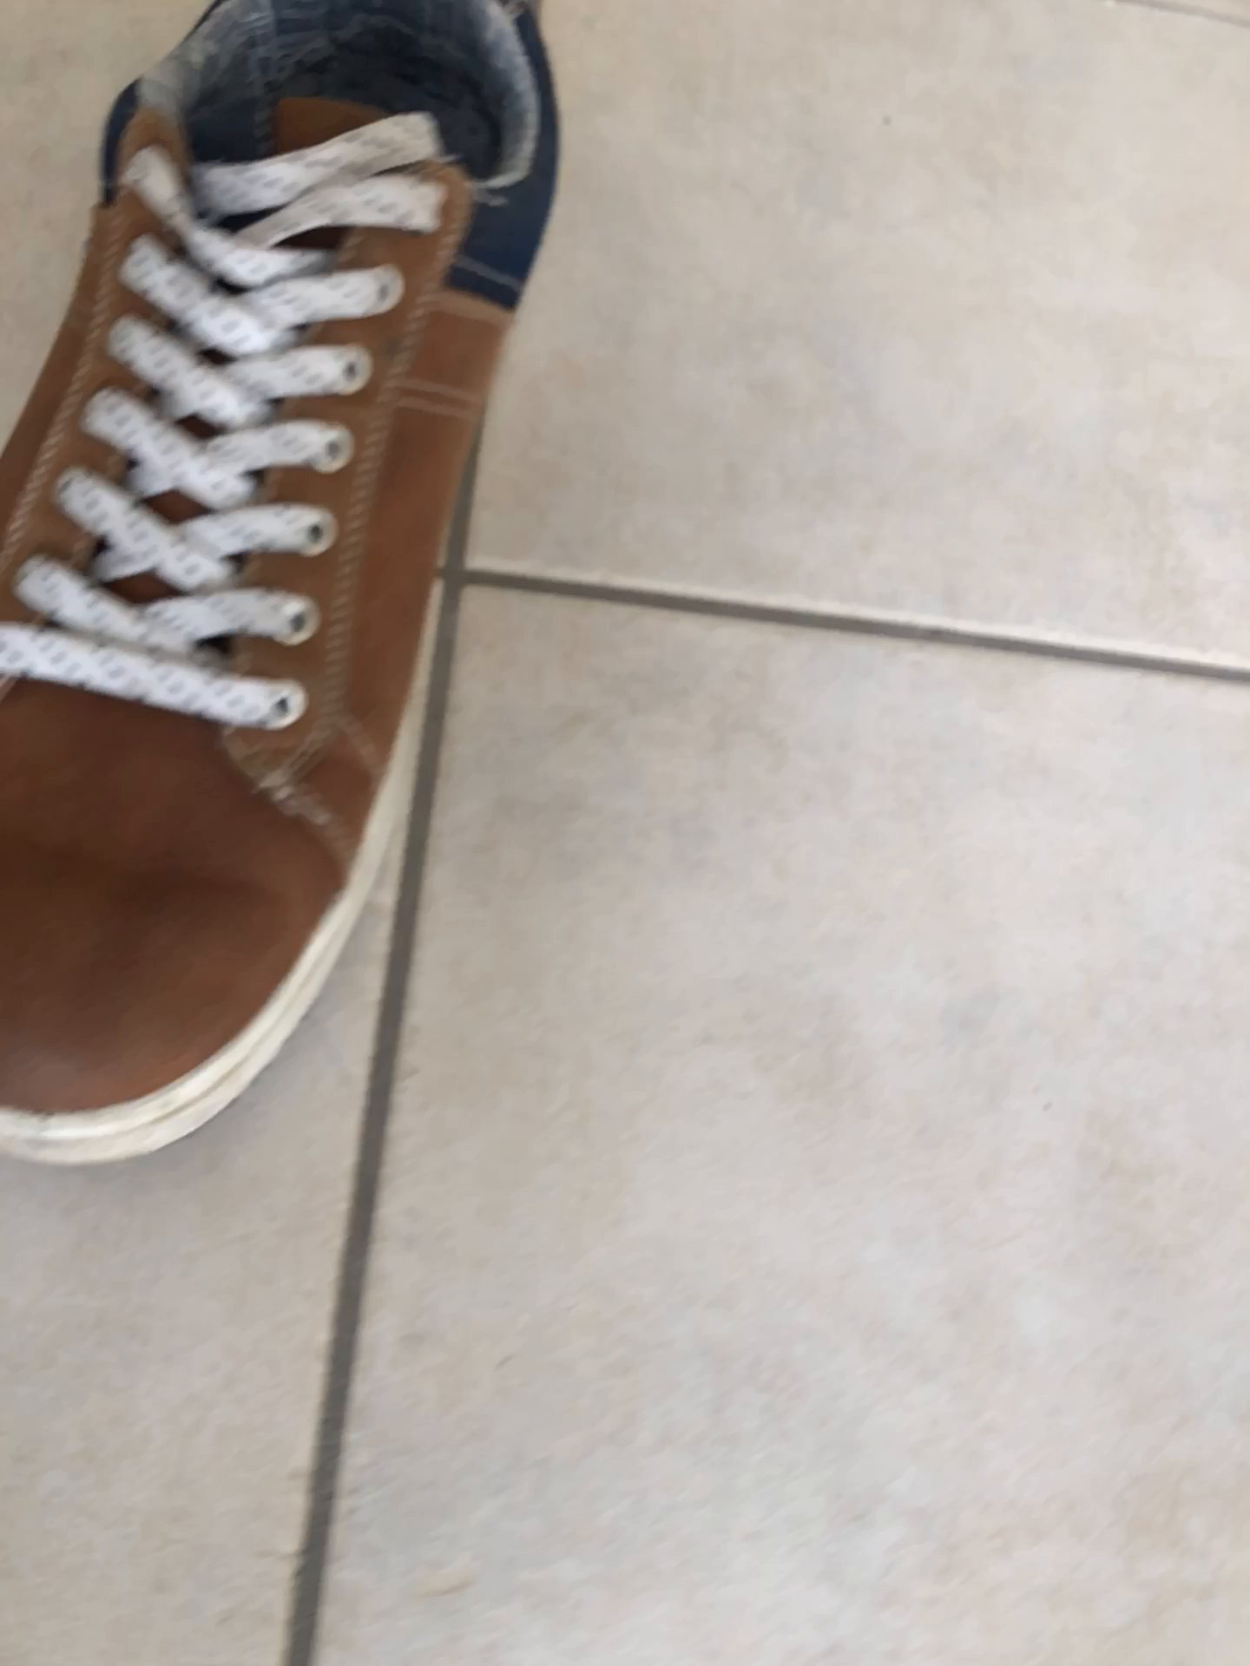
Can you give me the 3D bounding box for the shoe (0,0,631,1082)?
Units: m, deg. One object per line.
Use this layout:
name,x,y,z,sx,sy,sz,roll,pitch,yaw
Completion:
shoe,-0.088,-0.124,0.321,0.100,0.119,0.321,14,62,-1
